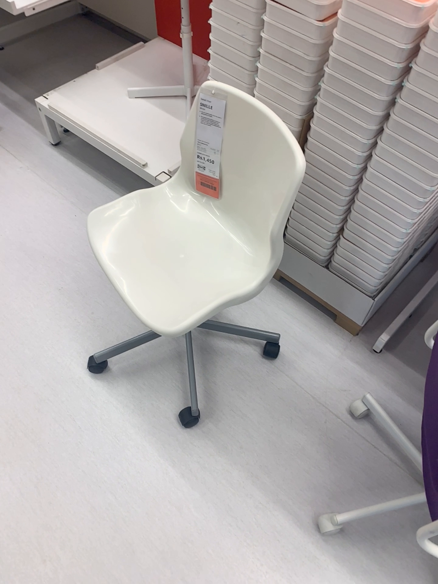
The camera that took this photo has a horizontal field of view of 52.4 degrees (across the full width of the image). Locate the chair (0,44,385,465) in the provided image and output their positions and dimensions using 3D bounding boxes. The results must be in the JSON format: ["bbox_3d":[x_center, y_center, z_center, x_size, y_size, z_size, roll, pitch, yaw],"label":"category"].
[{"bbox_3d":[-0.128,-0.097,1.219,0.680,0.688,0.641,-32,61,-21],"label":"chair"}]
